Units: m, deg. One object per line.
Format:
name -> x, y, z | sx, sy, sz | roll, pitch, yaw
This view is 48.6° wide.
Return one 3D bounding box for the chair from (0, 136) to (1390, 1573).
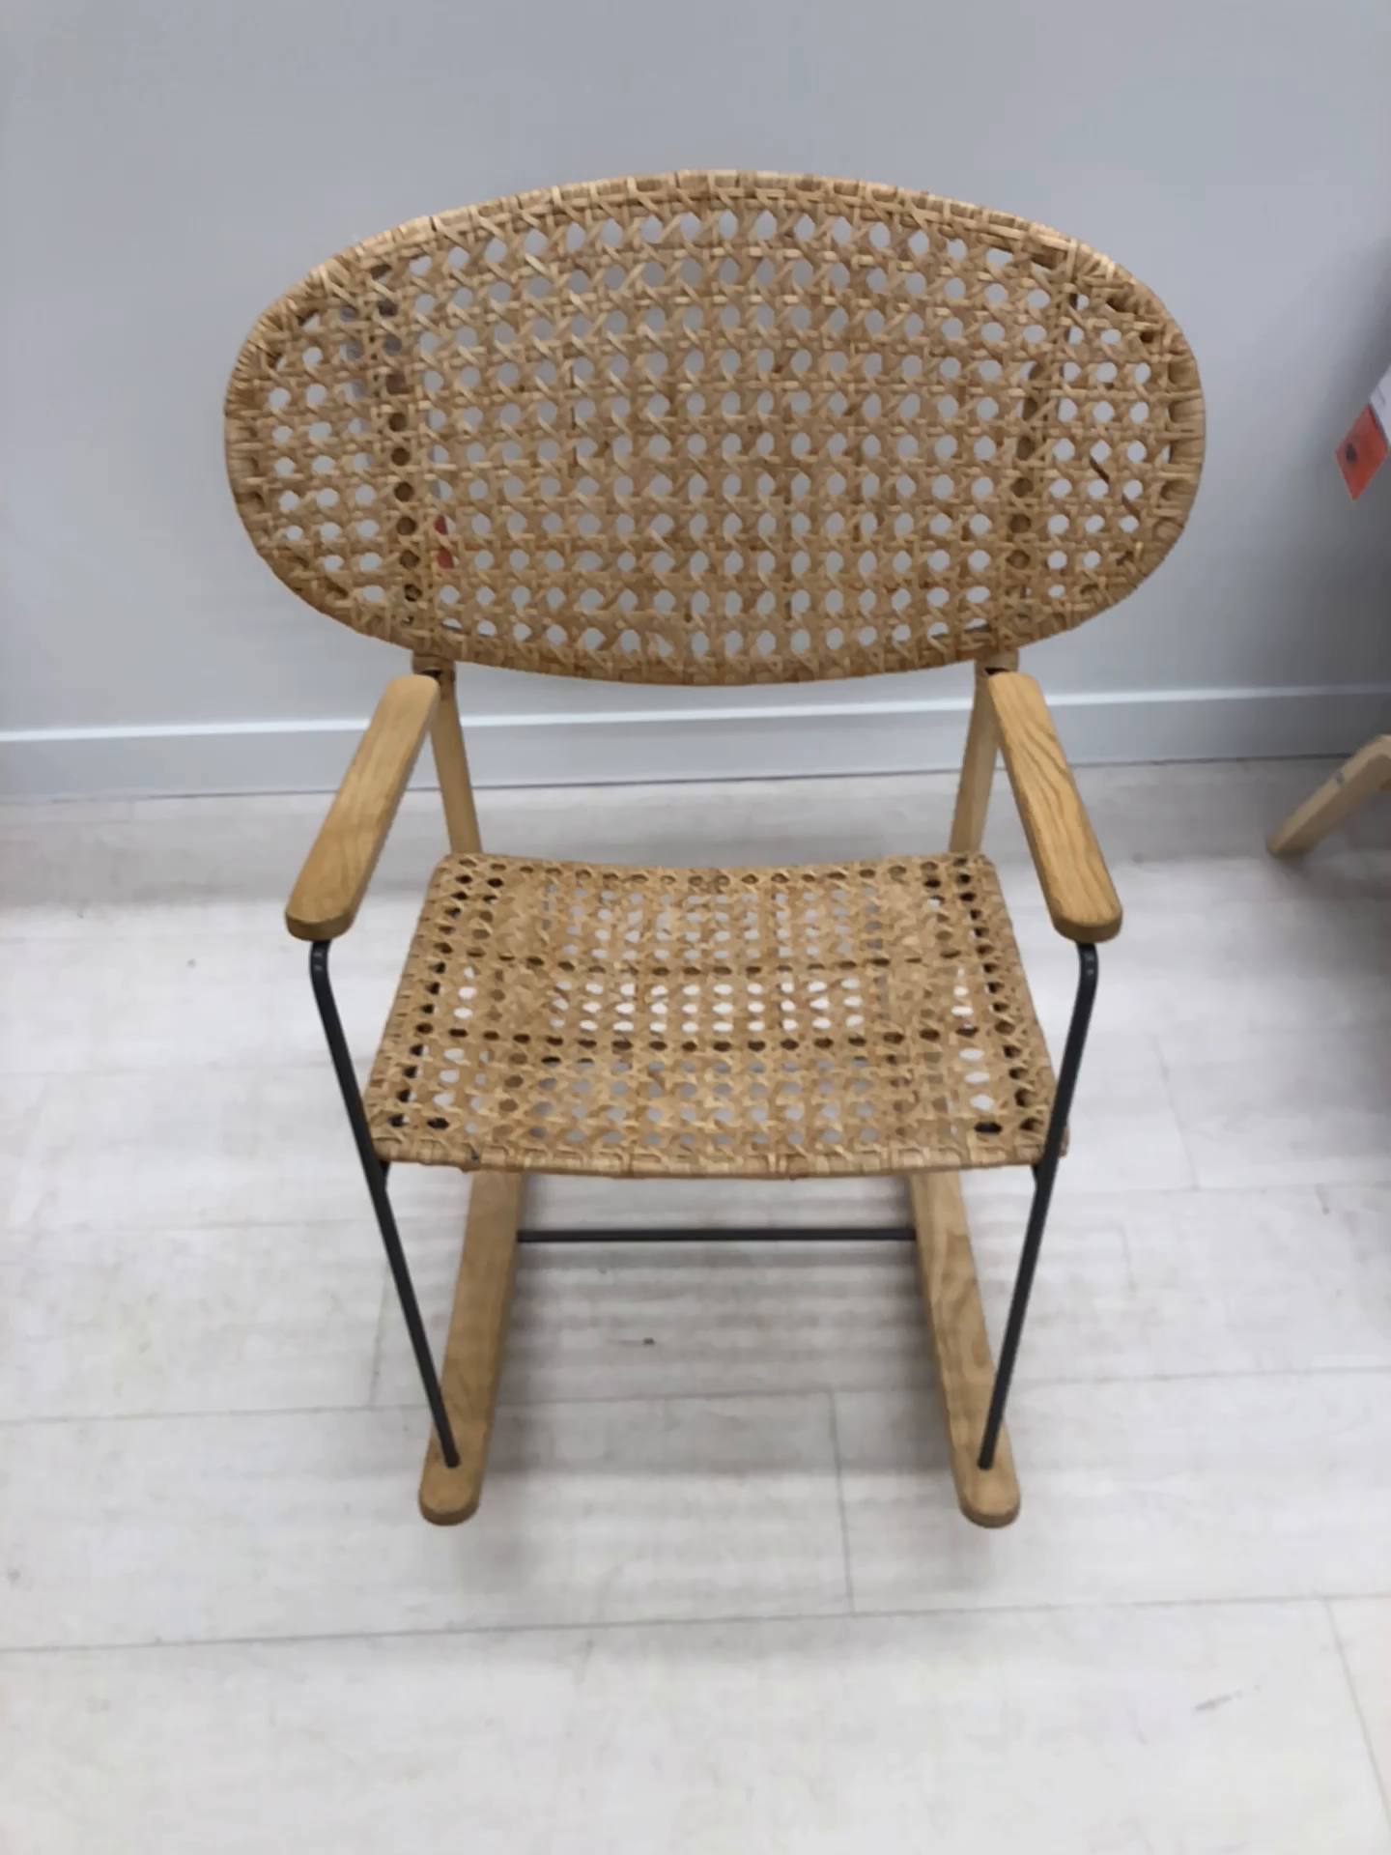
chair -> -0.011, -0.056, 1.272 | 0.830, 0.787, 0.853 | -2, 48, 0
